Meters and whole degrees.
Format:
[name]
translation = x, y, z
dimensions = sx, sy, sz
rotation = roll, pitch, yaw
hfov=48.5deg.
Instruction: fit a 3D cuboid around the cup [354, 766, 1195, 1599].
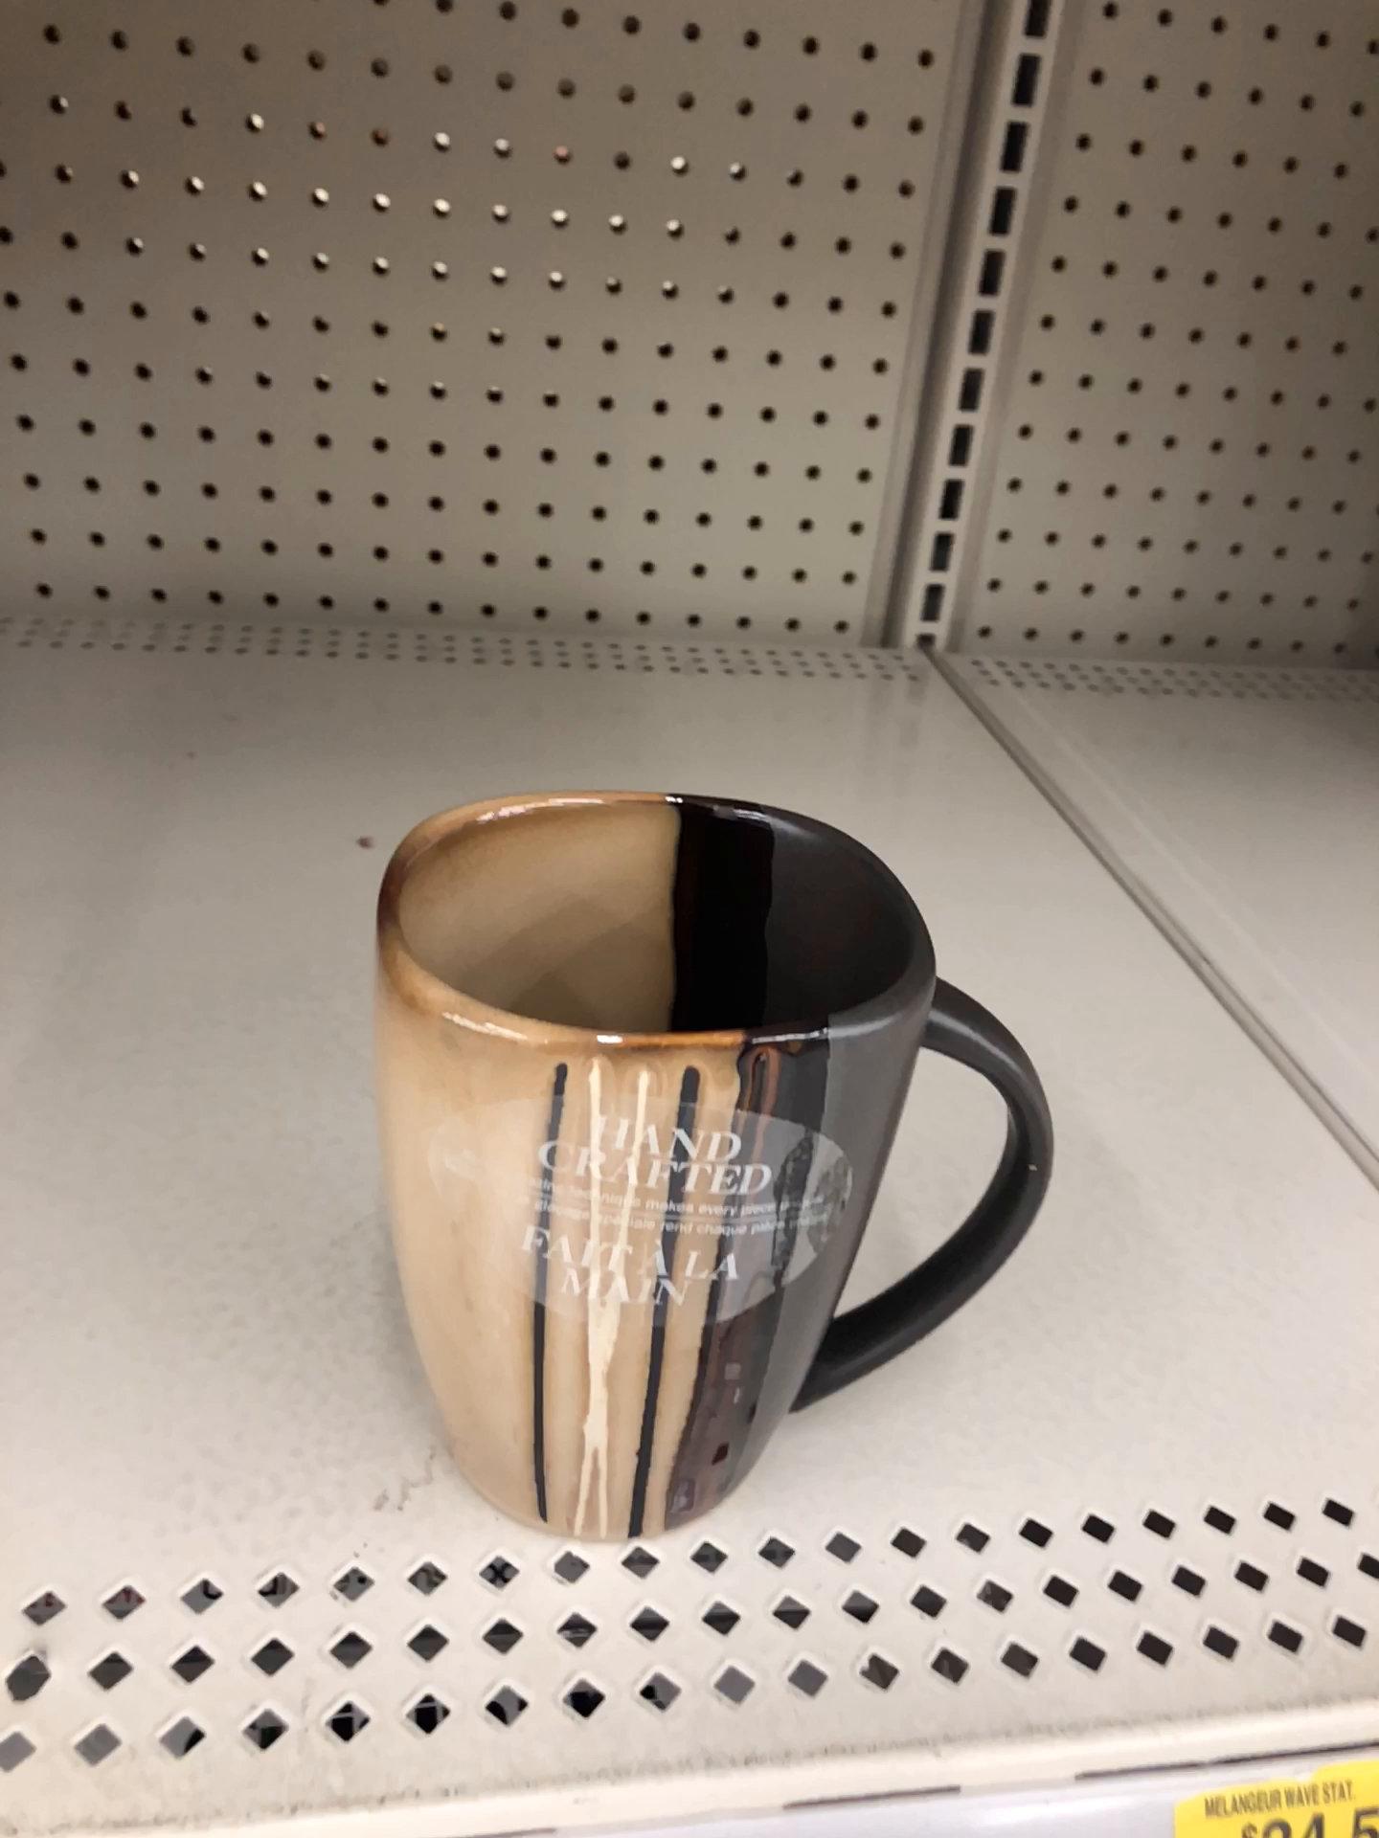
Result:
[cup]
translation = 0.002, 0.042, 0.275
dimensions = 0.120, 0.110, 0.087
rotation = 0, 29, -11
